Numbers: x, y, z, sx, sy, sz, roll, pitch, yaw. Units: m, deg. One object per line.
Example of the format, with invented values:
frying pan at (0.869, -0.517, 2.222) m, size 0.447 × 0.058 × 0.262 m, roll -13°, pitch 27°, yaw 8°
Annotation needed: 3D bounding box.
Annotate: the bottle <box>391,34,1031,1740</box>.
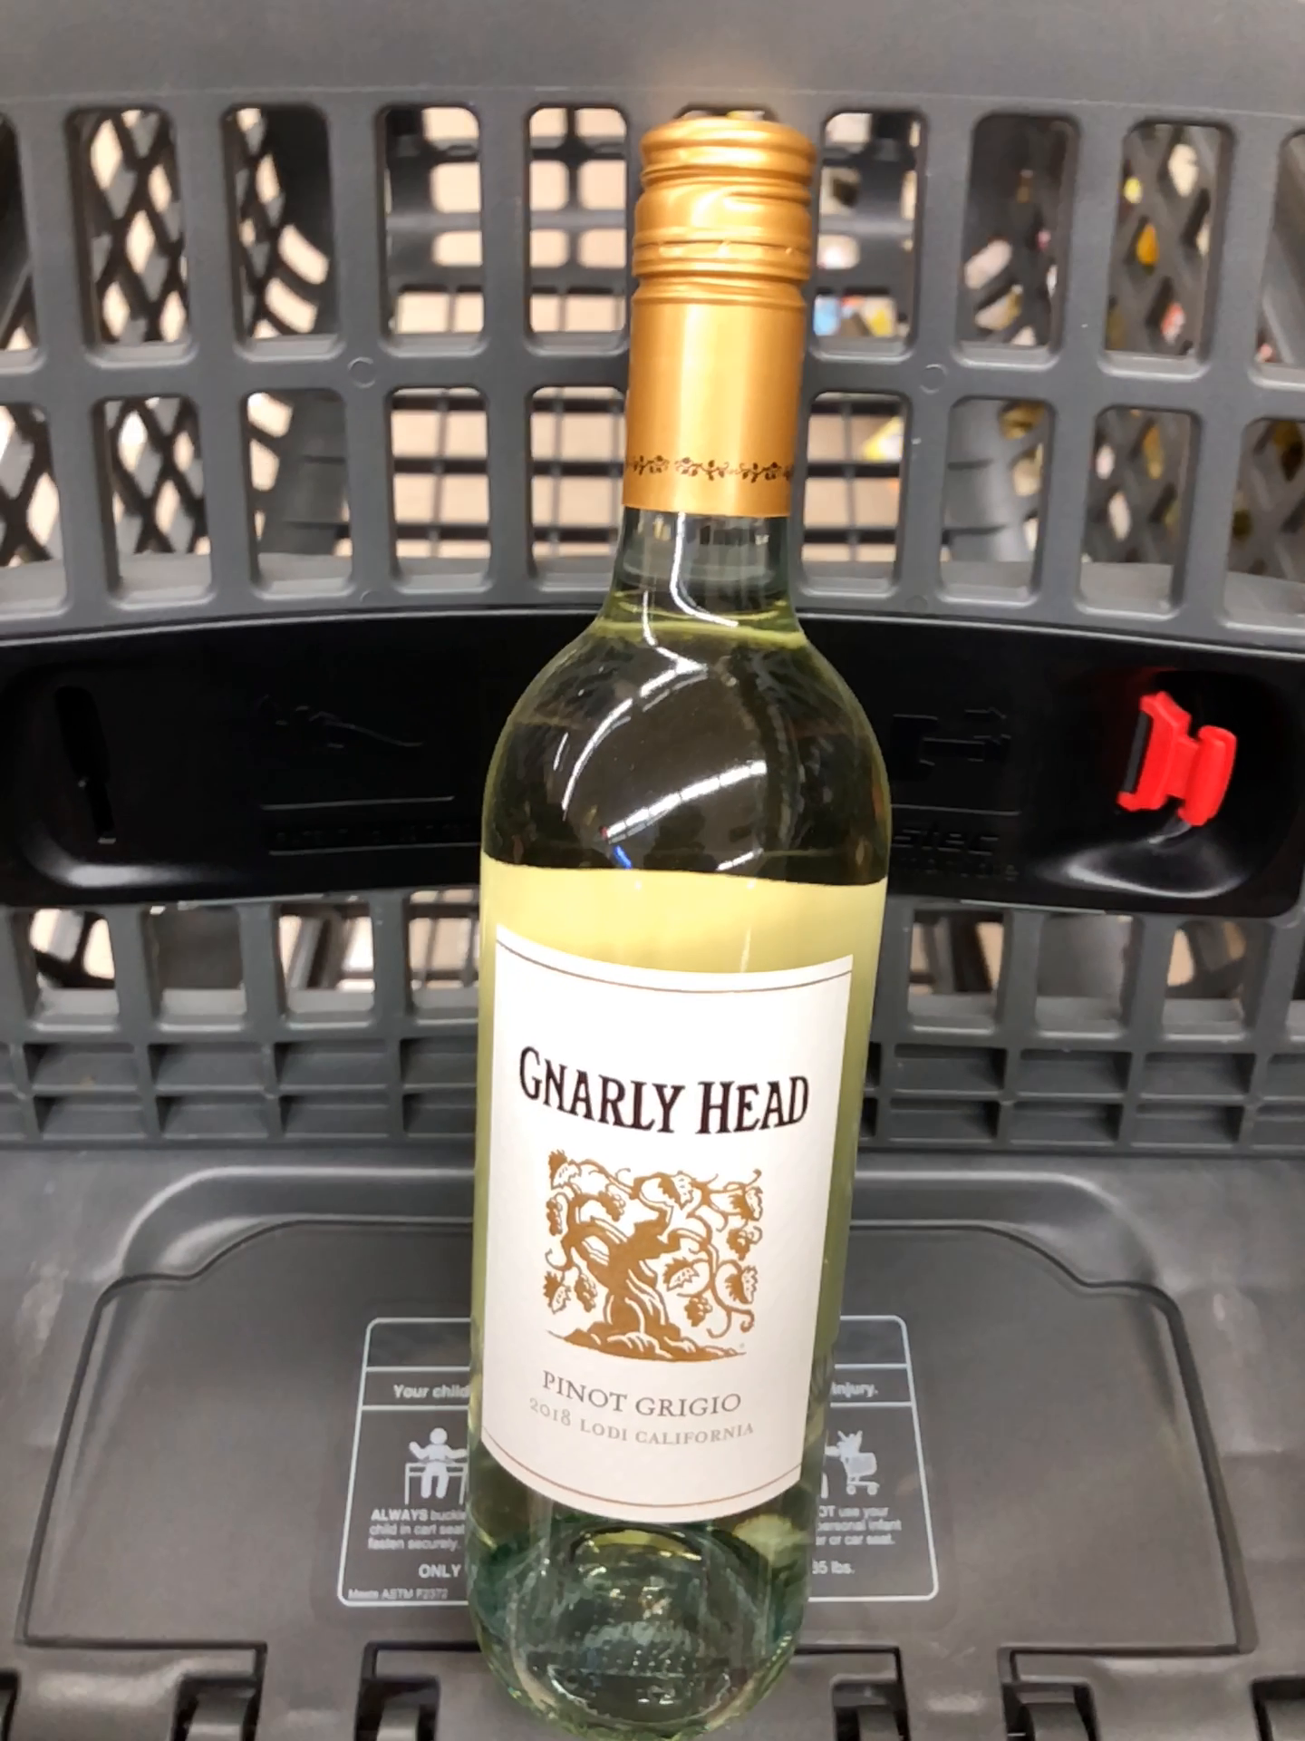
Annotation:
bottle at (0.004, 0.018, 0.262) m, size 0.080 × 0.070 × 0.280 m, roll 4°, pitch 103°, yaw 2°
